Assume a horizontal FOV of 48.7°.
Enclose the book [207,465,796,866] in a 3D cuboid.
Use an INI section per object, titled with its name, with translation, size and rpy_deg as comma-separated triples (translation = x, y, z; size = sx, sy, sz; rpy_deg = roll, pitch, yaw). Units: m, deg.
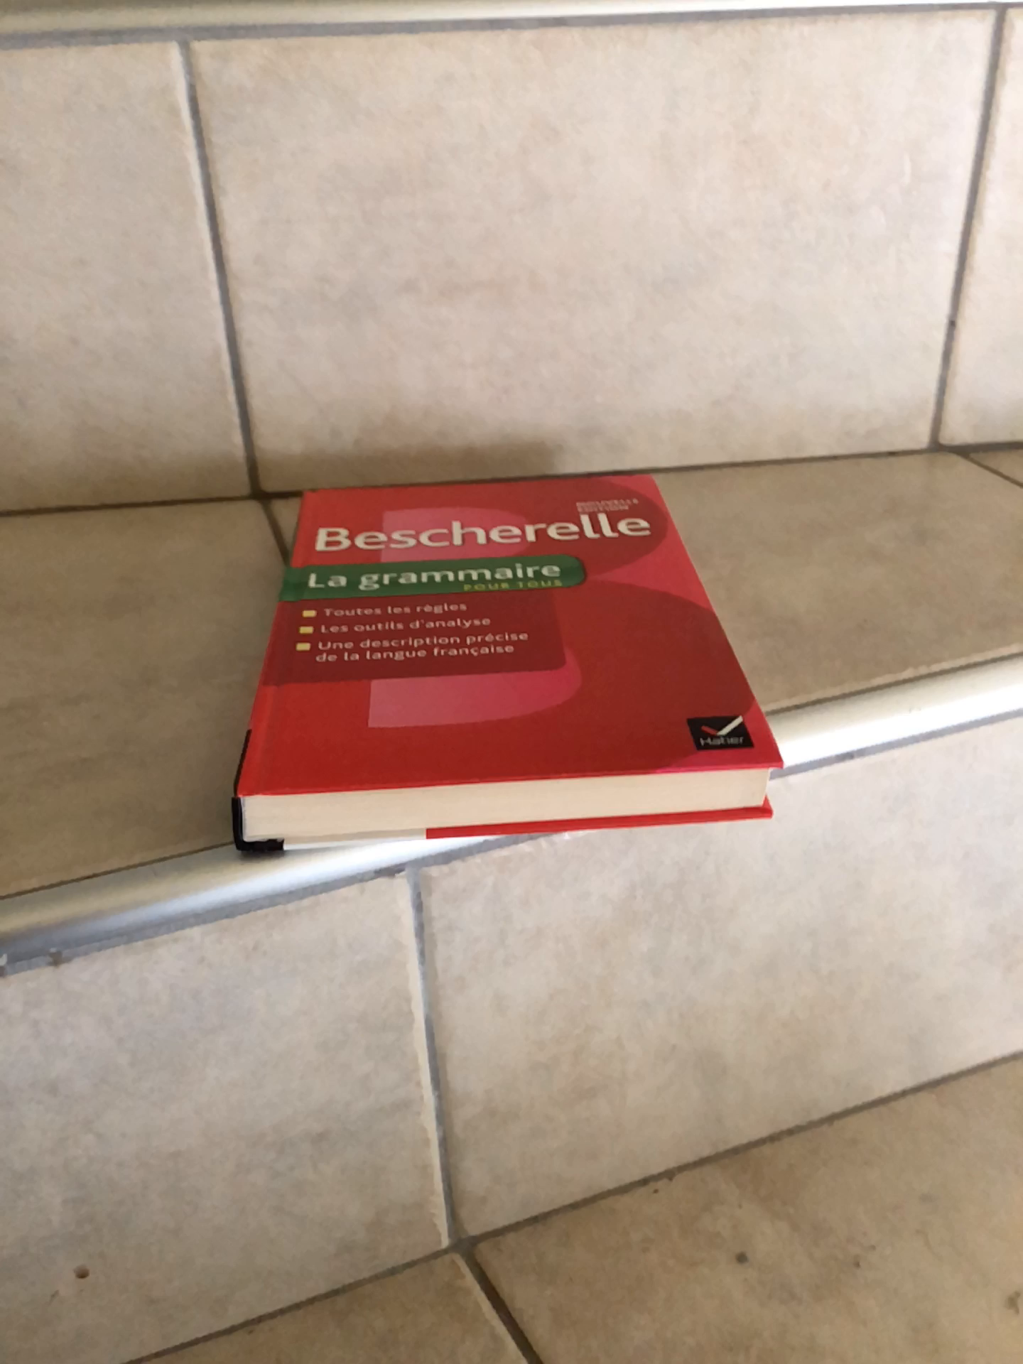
[book]
translation = -0.008, -0.020, 0.363
size = 0.143, 0.020, 0.202
rpy_deg = -4, 32, -2
